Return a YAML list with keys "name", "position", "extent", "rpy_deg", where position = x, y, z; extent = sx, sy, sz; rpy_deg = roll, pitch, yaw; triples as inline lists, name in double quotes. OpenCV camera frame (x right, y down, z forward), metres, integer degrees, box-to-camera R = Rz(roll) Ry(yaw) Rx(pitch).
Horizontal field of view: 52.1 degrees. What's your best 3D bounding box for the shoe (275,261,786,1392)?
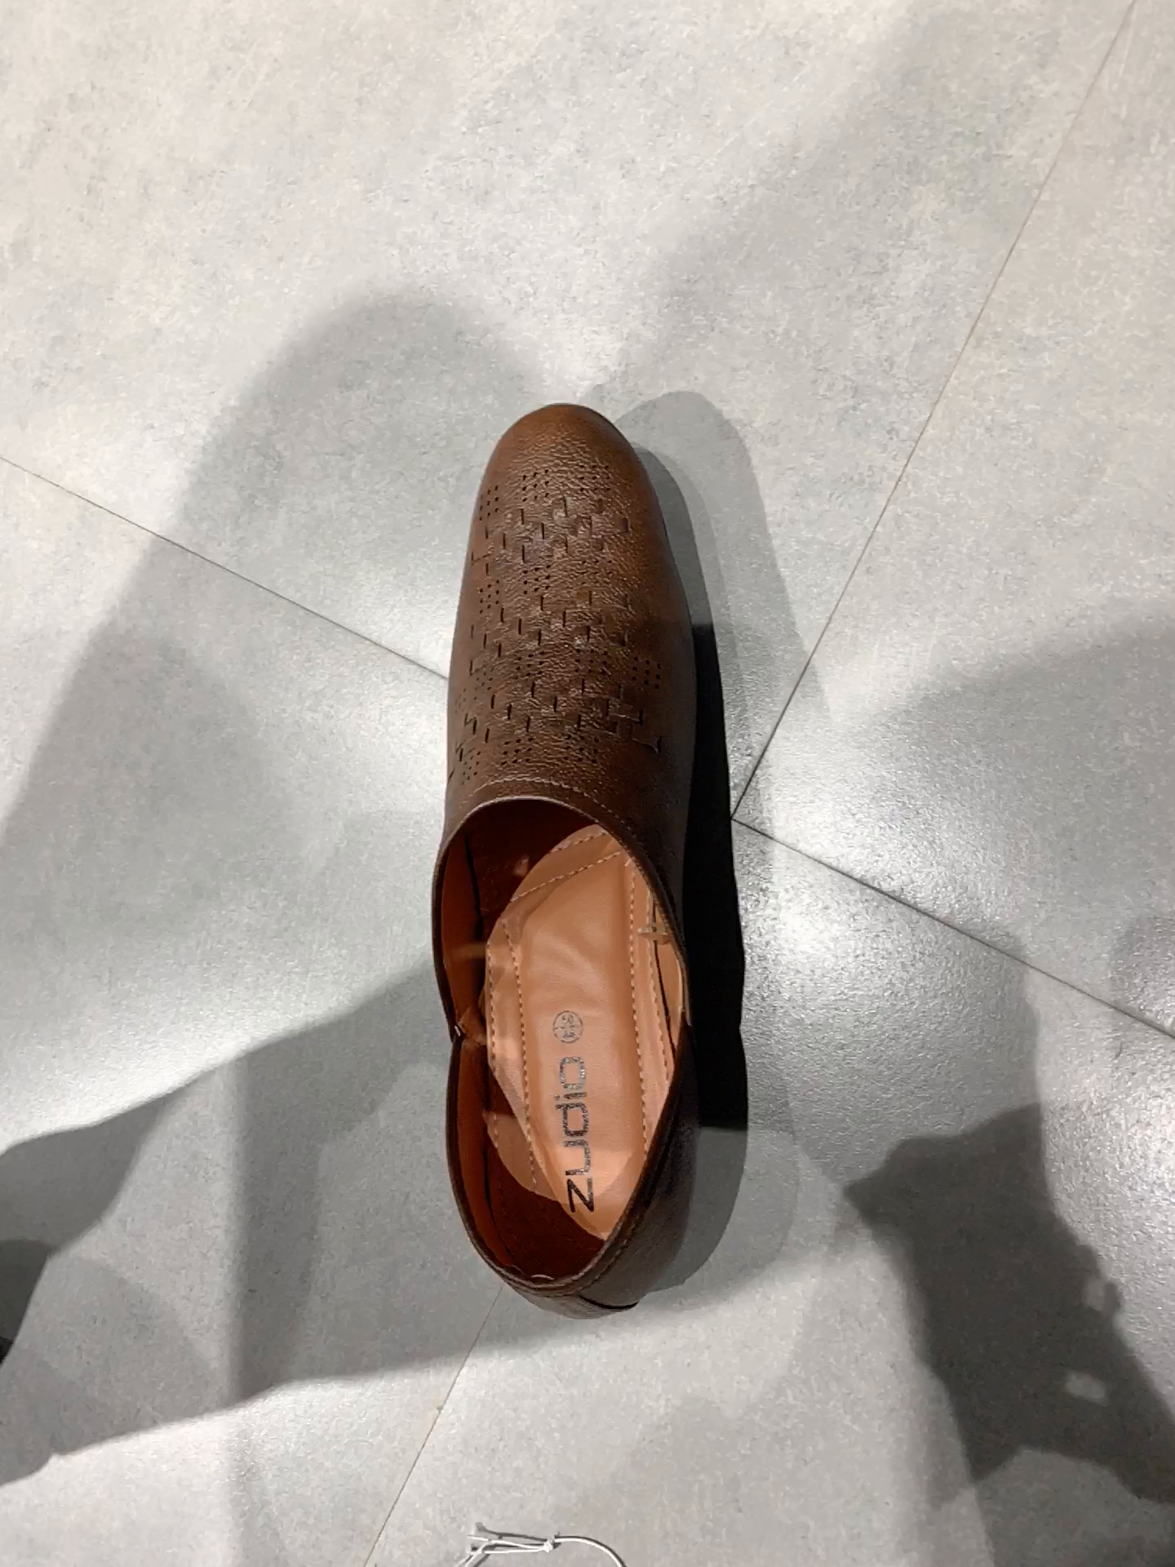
- name: "shoe"
  position: [-0.015, 0.014, 0.373]
  extent: [0.100, 0.110, 0.290]
  rpy_deg: [-8, 81, 18]
